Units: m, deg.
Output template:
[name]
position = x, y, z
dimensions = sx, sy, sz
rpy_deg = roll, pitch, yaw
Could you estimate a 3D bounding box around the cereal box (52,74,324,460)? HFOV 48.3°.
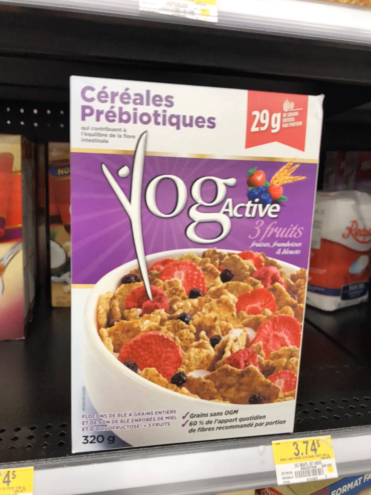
[cereal box]
position = -0.004, 0.020, 0.338
dimensions = 0.190, 0.279, 0.060
rpy_deg = 0, 11, -11
